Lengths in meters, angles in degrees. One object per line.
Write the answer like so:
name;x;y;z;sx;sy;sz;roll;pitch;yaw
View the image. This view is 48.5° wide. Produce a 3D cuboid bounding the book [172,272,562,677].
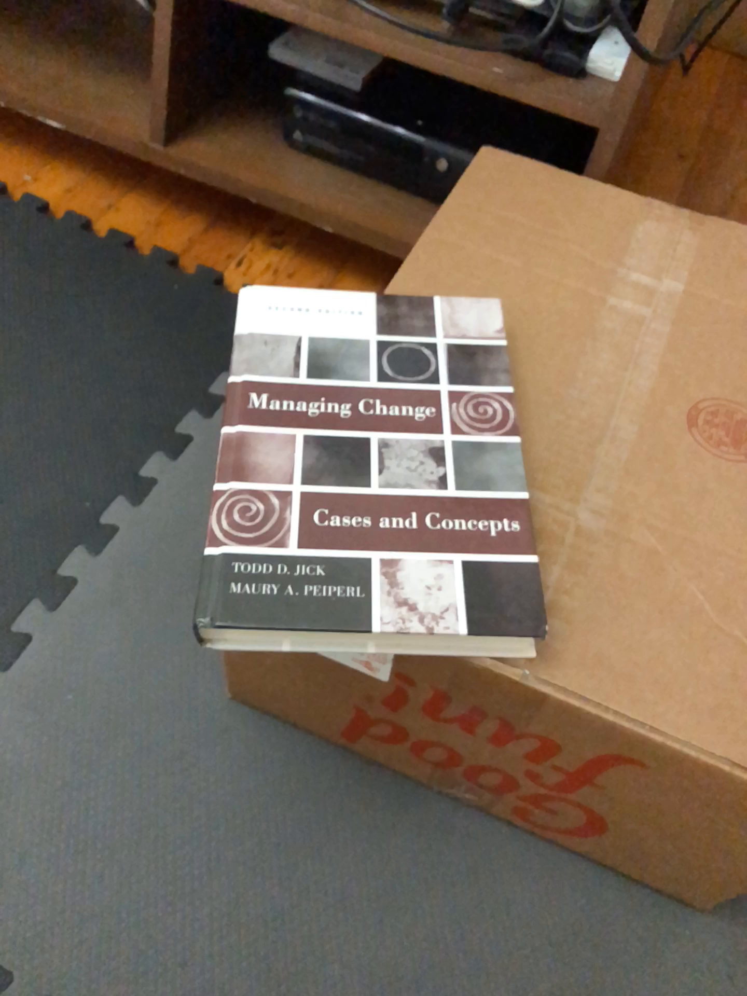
book;-0.004;-0.026;0.465;0.180;0.030;0.251;3;55;-5
